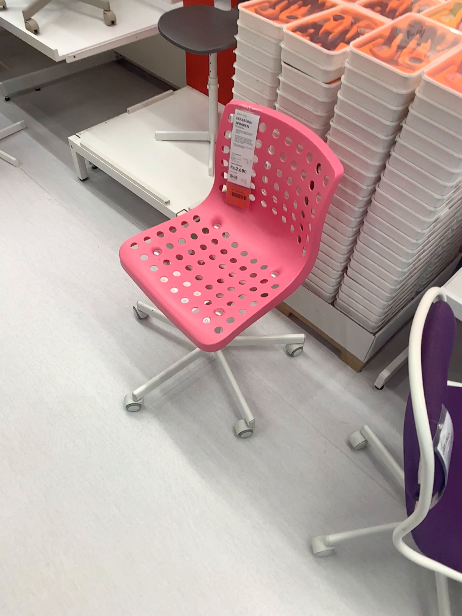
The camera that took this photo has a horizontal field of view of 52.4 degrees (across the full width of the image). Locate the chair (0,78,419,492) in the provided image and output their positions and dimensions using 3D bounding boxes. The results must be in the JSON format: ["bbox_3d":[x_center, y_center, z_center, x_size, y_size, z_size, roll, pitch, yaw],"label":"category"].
[{"bbox_3d":[-0.066,-0.084,1.331,0.691,0.688,0.671,-33,59,-26],"label":"chair"}]
